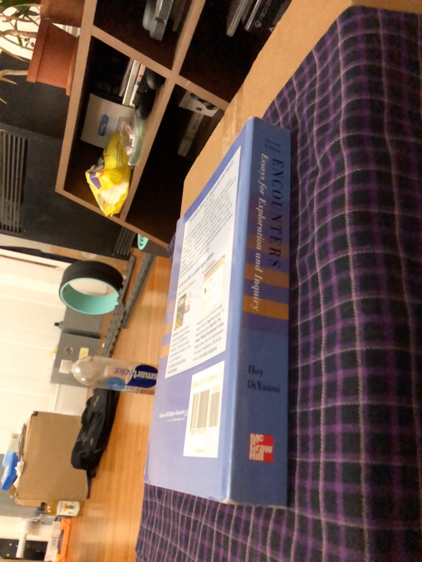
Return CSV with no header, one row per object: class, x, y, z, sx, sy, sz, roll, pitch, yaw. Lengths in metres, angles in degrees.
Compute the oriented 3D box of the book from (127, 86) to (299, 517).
book,-0.003,0.022,0.329,0.180,0.040,0.240,136,143,-61
